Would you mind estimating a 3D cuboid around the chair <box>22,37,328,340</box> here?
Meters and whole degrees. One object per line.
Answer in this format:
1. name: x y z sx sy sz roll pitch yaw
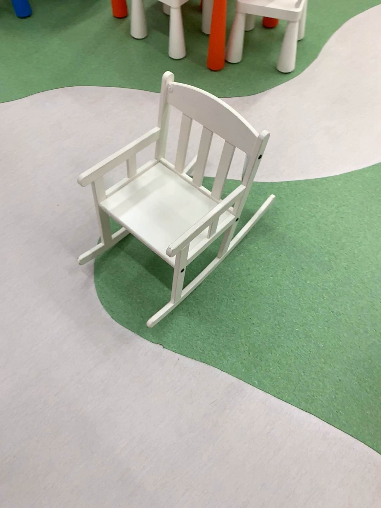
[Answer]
1. chair: -0.016 -0.197 1.236 0.410 0.499 0.730 39 69 19
